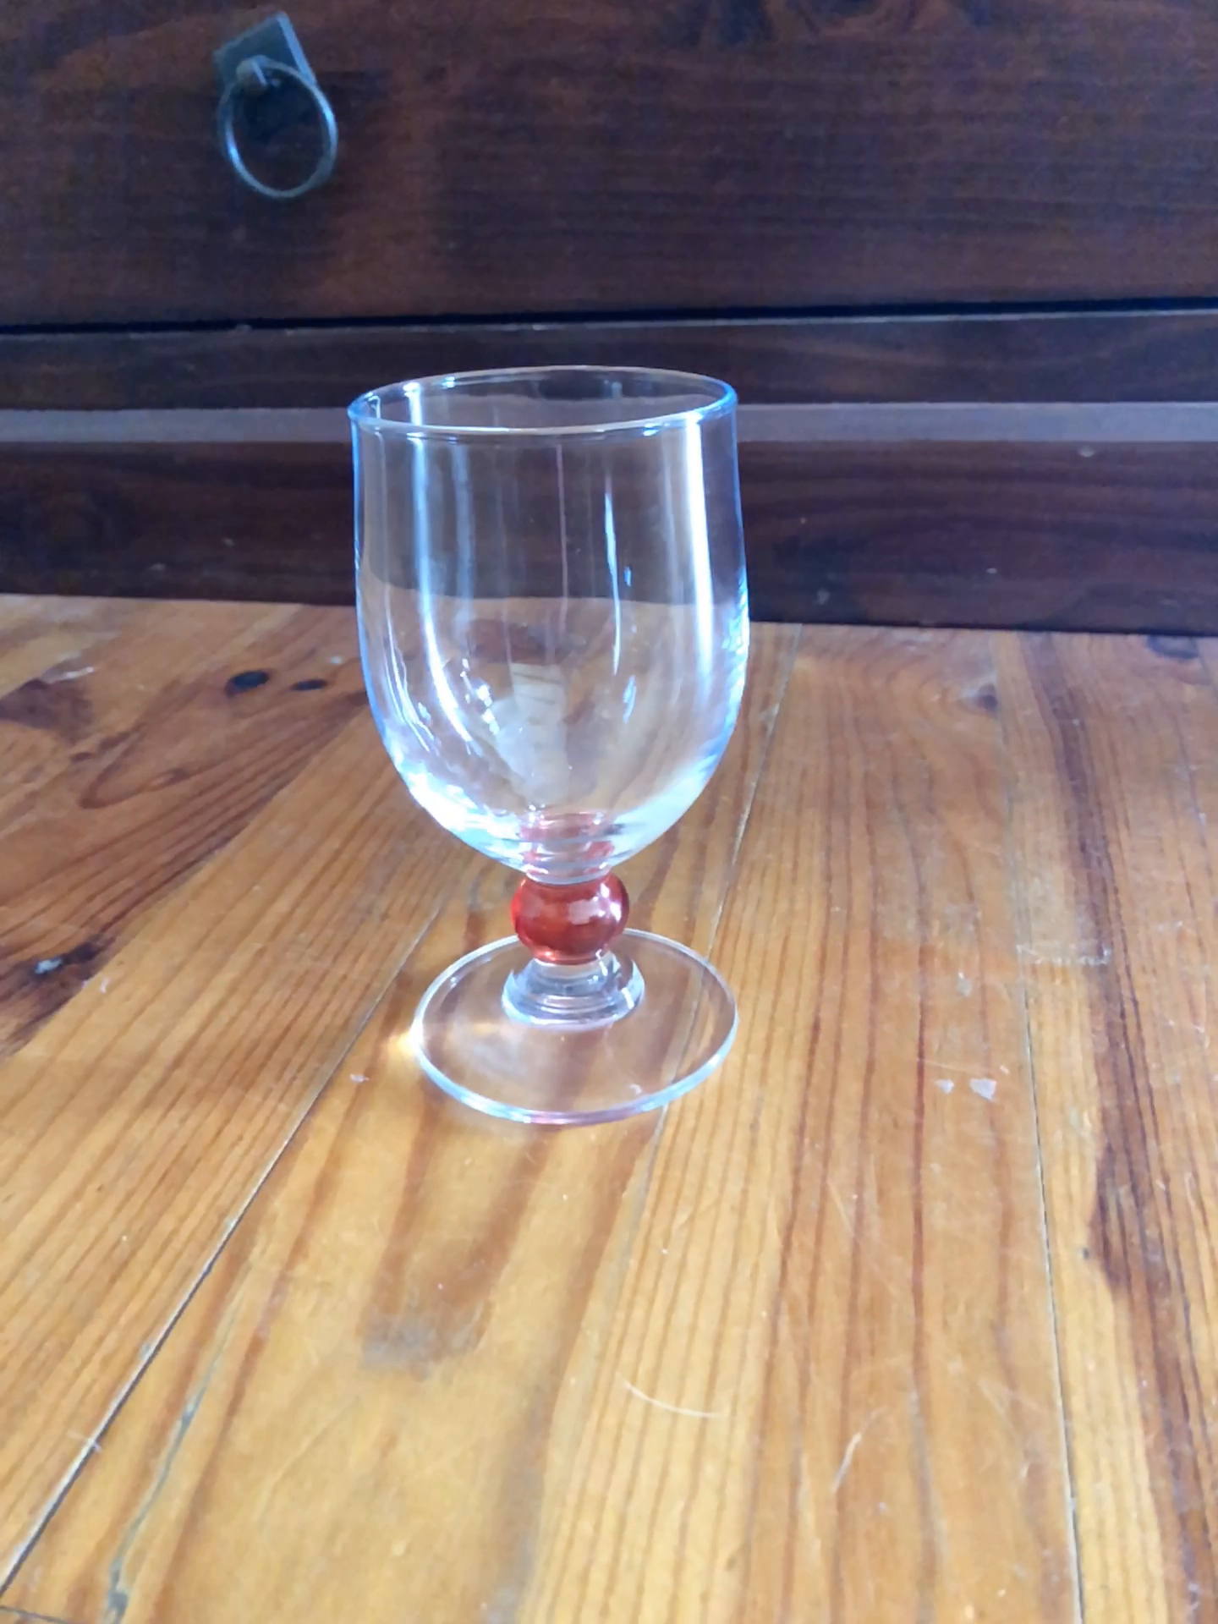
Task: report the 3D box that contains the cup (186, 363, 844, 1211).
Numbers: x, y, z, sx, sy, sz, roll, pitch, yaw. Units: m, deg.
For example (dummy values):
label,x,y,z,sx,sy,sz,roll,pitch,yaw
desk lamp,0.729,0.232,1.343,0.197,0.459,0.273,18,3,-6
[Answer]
label,x,y,z,sx,sy,sz,roll,pitch,yaw
cup,-0.009,-0.013,0.266,0.083,0.132,0.088,-3,25,1
